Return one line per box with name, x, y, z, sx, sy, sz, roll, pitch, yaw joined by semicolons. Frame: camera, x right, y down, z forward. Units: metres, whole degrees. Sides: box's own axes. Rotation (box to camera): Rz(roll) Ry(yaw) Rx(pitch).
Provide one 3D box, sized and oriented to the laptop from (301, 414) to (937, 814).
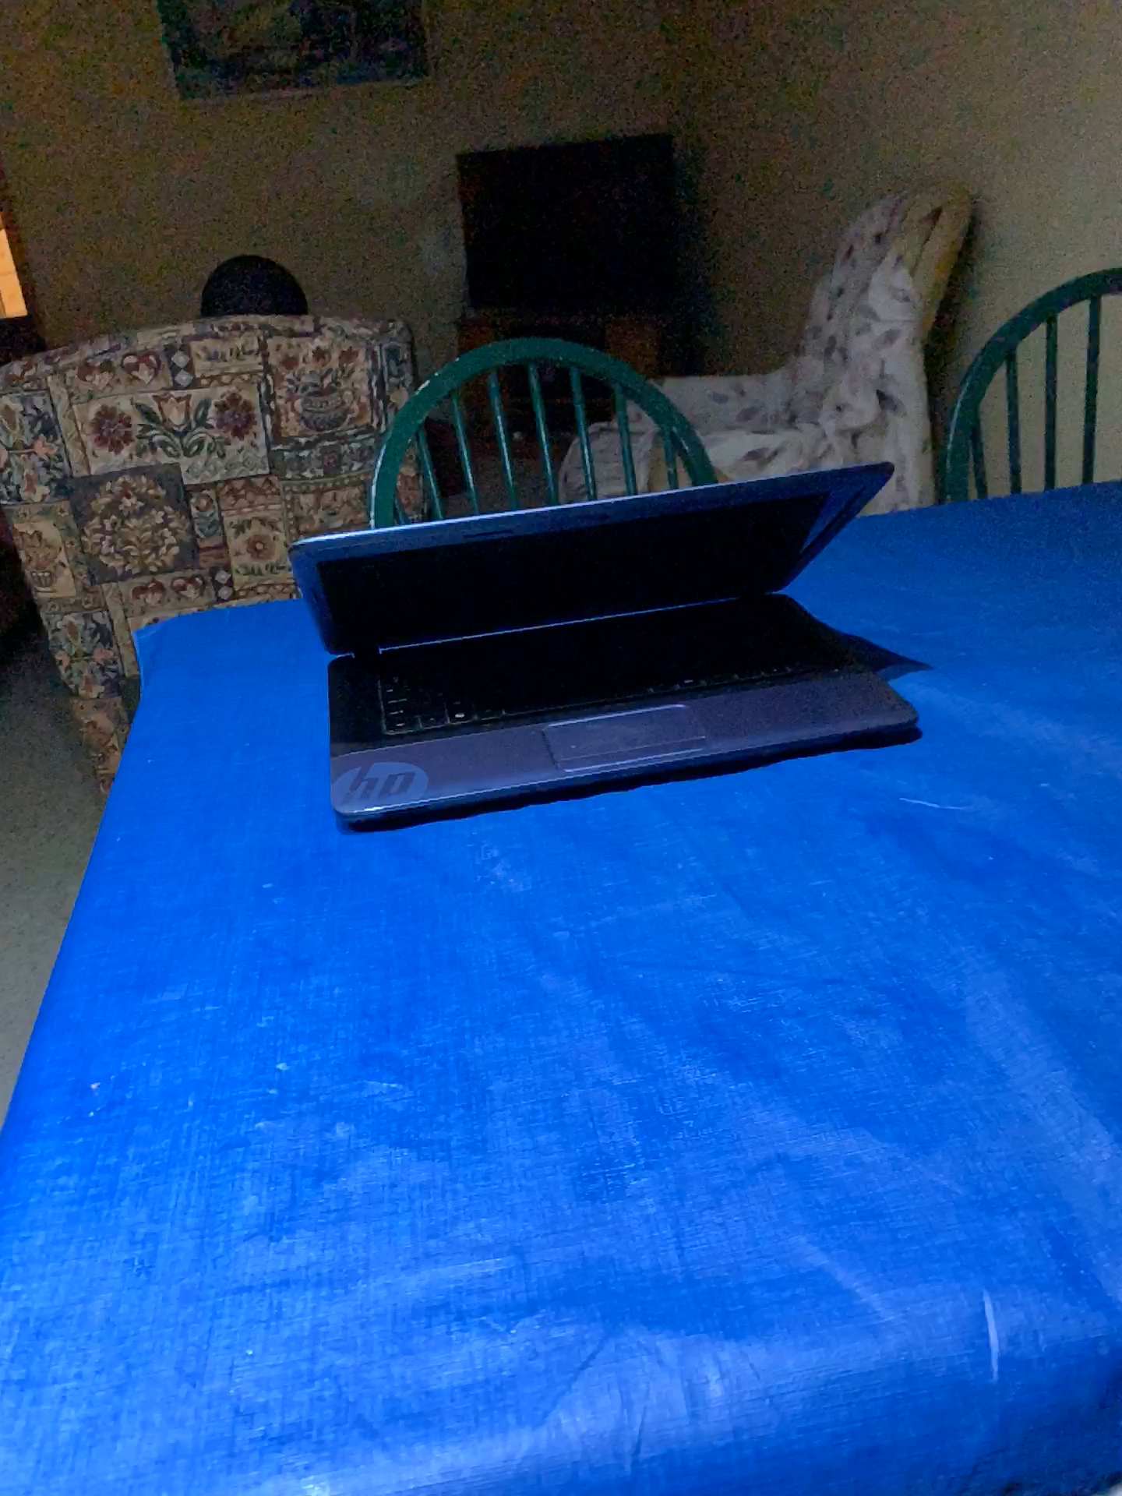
laptop;0.021;-0.107;0.773;0.362;0.141;0.241;-9;27;-7
